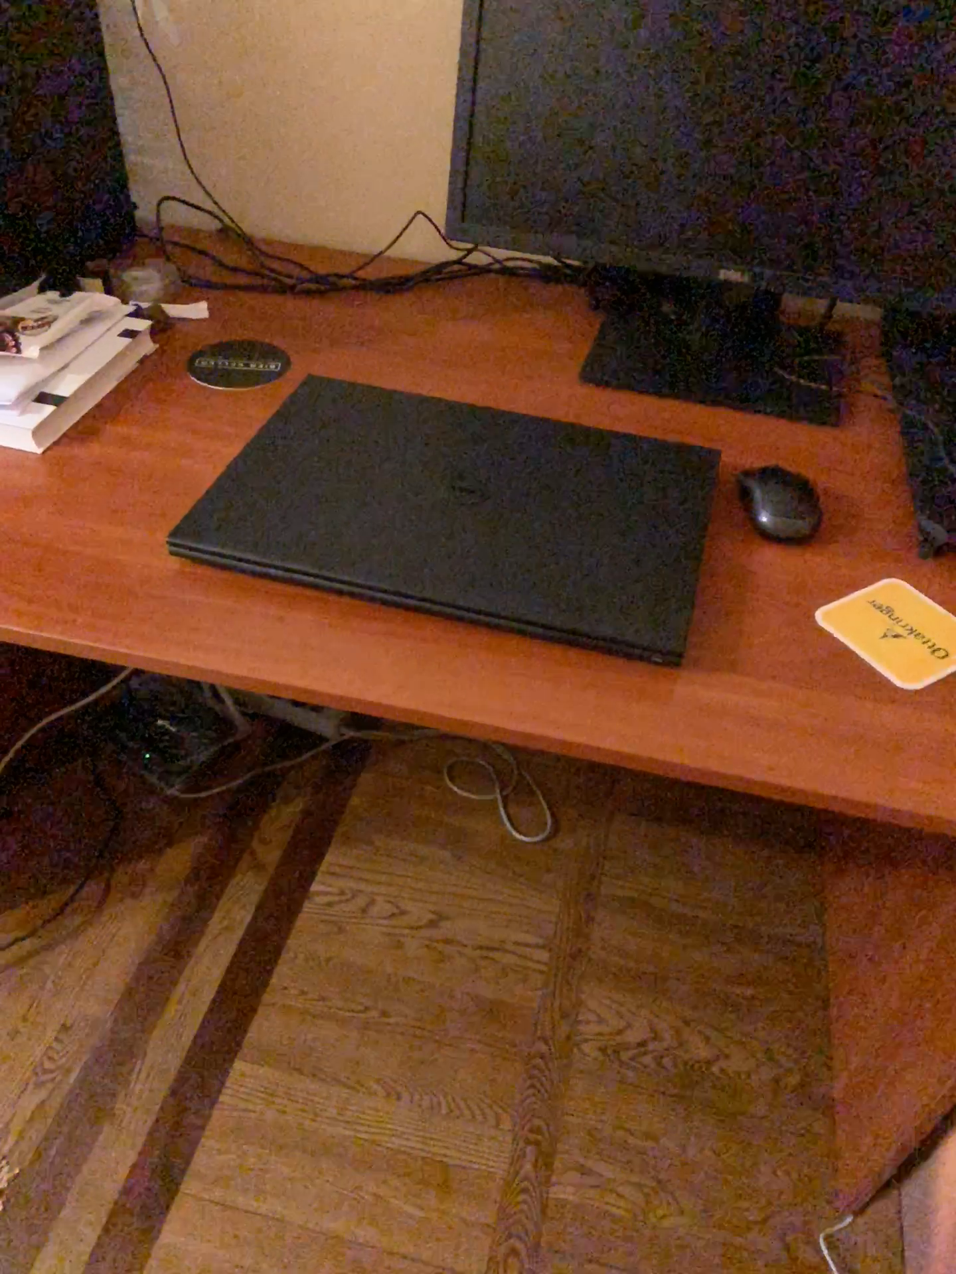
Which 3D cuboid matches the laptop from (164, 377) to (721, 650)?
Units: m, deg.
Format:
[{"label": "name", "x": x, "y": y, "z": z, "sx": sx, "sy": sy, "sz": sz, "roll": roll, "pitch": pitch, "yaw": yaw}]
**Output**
[{"label": "laptop", "x": -0.008, "y": -0.108, "z": 0.718, "sx": 0.351, "sy": 0.001, "sz": 0.249, "roll": 13, "pitch": 43, "yaw": 9}]
